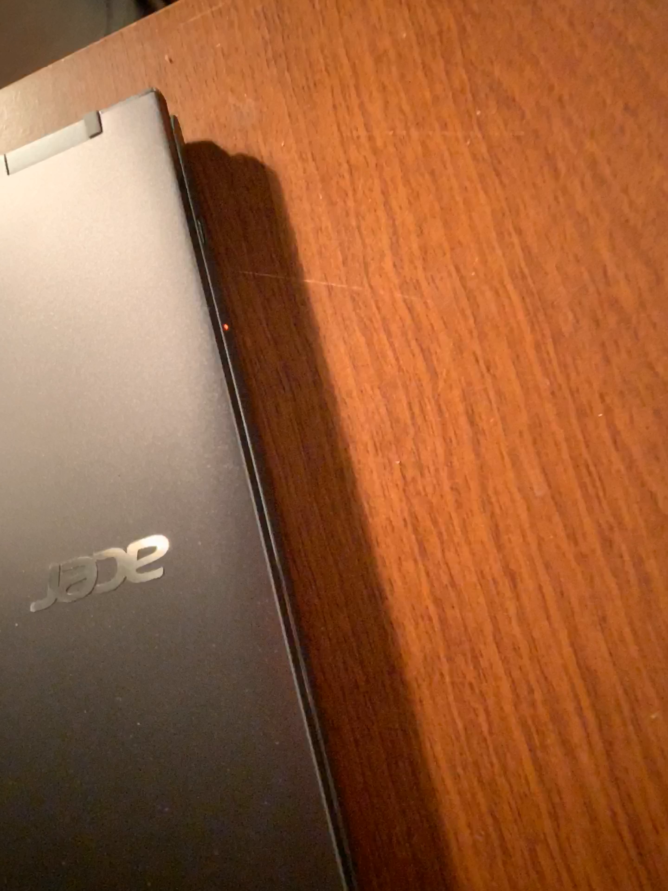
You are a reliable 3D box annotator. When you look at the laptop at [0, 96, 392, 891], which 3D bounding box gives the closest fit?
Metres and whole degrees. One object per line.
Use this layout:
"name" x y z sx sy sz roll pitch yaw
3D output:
"laptop" -0.157 0.061 0.194 0.299 0.002 0.232 -16 80 13
